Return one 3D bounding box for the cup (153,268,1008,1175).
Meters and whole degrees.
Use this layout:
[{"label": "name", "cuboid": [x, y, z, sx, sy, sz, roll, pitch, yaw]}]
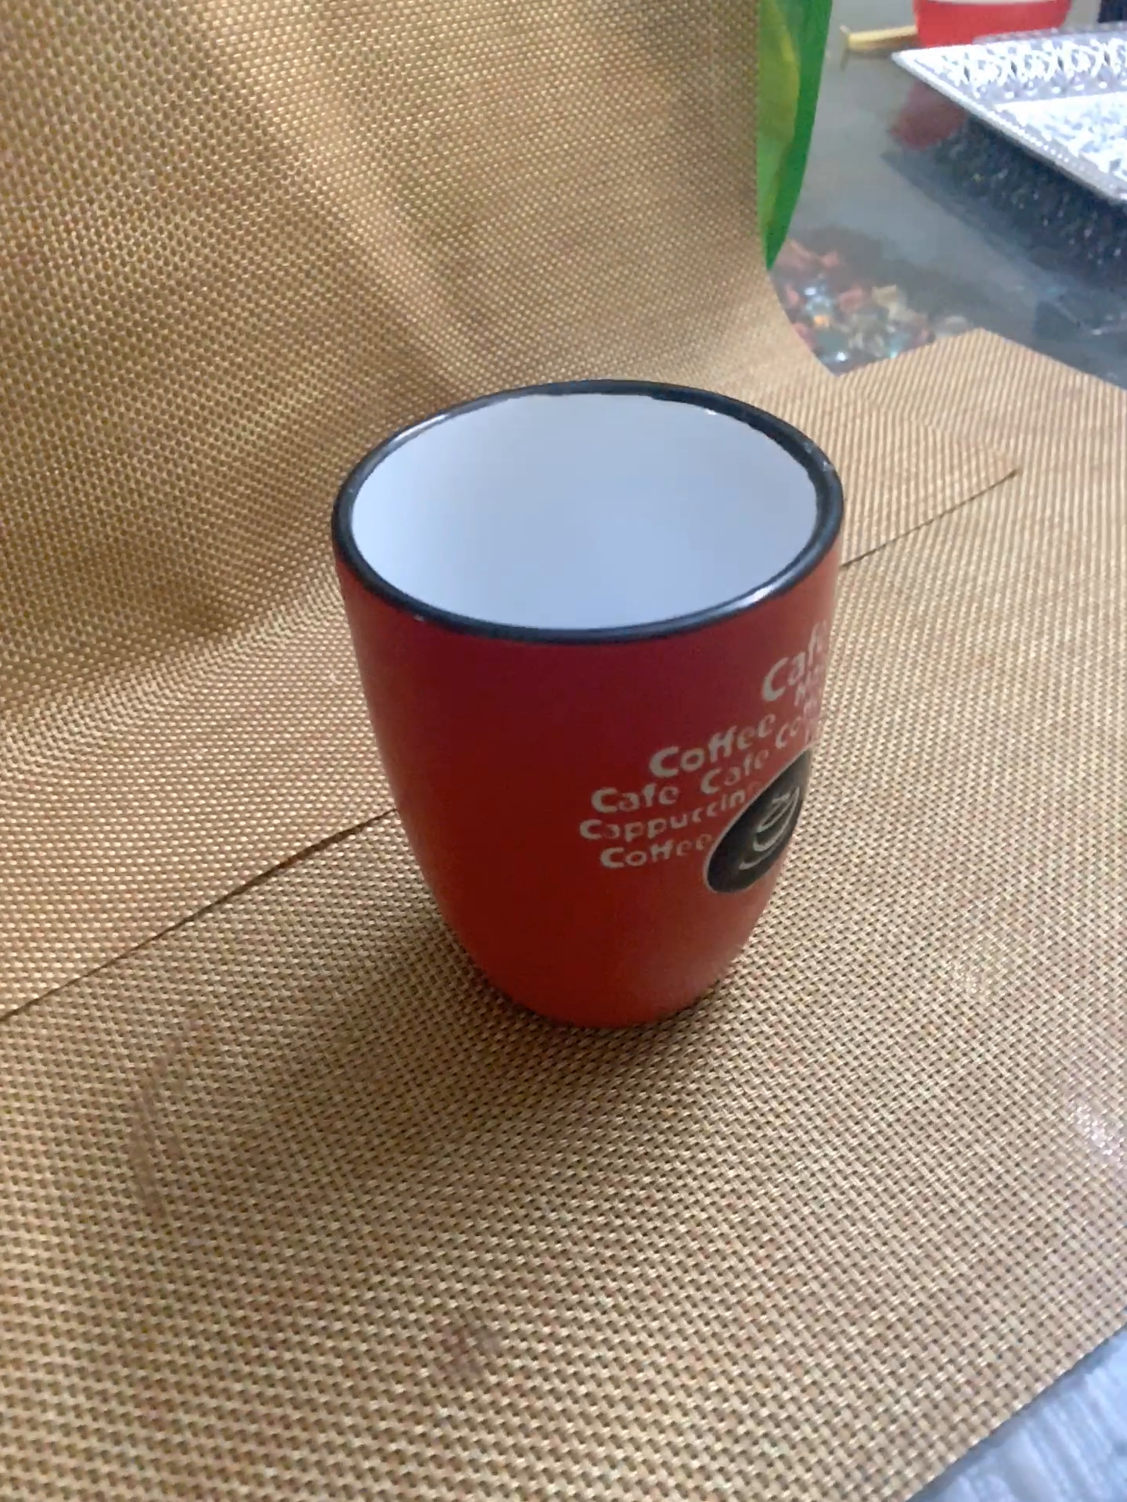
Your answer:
[{"label": "cup", "cuboid": [0.012, -0.015, 0.223, 0.090, 0.099, 0.121, 20, 47, 25]}]
